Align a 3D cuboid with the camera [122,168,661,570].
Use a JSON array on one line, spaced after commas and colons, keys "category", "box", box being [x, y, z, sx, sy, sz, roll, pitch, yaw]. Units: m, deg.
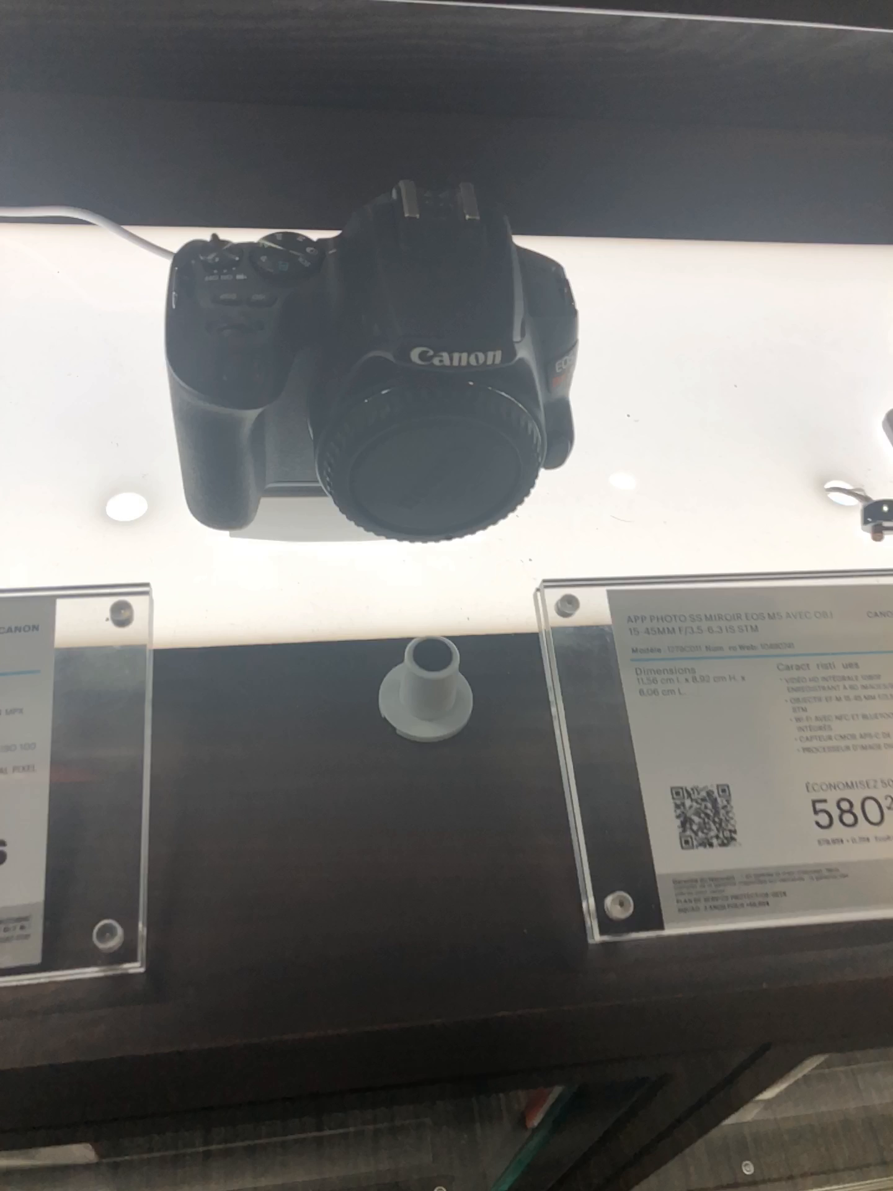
[{"category": "camera", "box": [-0.019, -0.063, 0.277, 0.123, 0.071, 0.081, -2, 50, -10]}]
